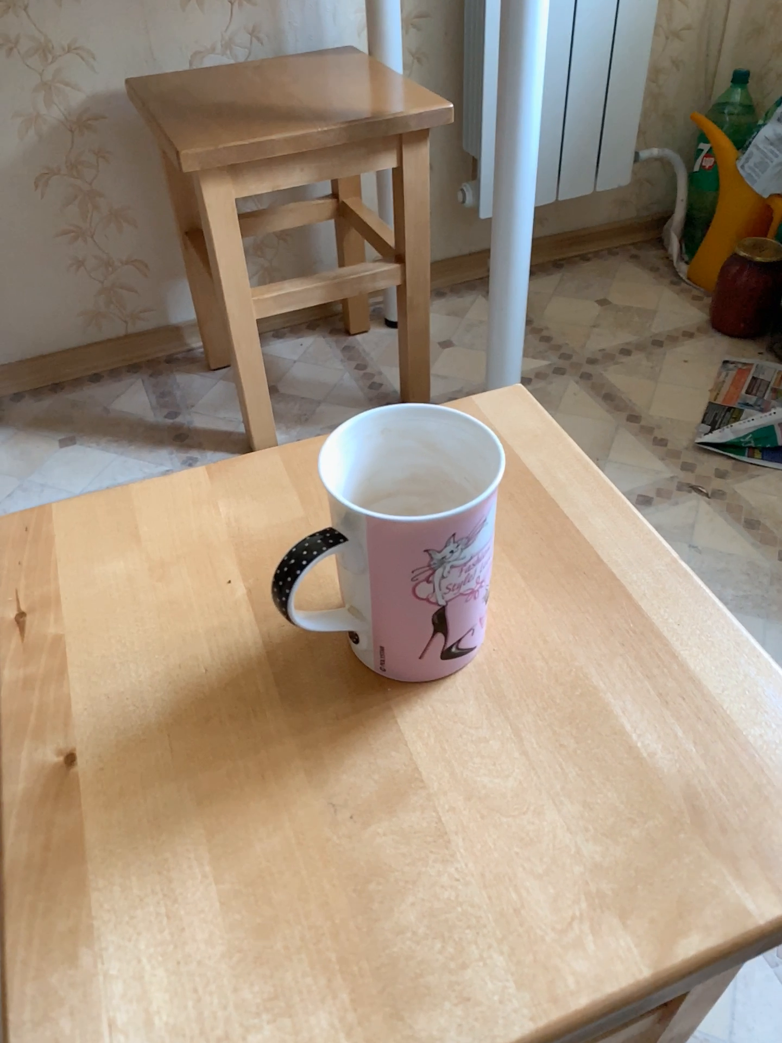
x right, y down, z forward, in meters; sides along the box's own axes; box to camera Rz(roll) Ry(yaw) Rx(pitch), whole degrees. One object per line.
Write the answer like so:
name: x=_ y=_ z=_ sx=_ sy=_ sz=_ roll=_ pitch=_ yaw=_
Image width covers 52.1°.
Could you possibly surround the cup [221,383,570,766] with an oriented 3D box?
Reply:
cup: x=0.004 y=0.019 z=0.345 sx=0.110 sy=0.099 sz=0.080 roll=-29 pitch=49 yaw=-26
